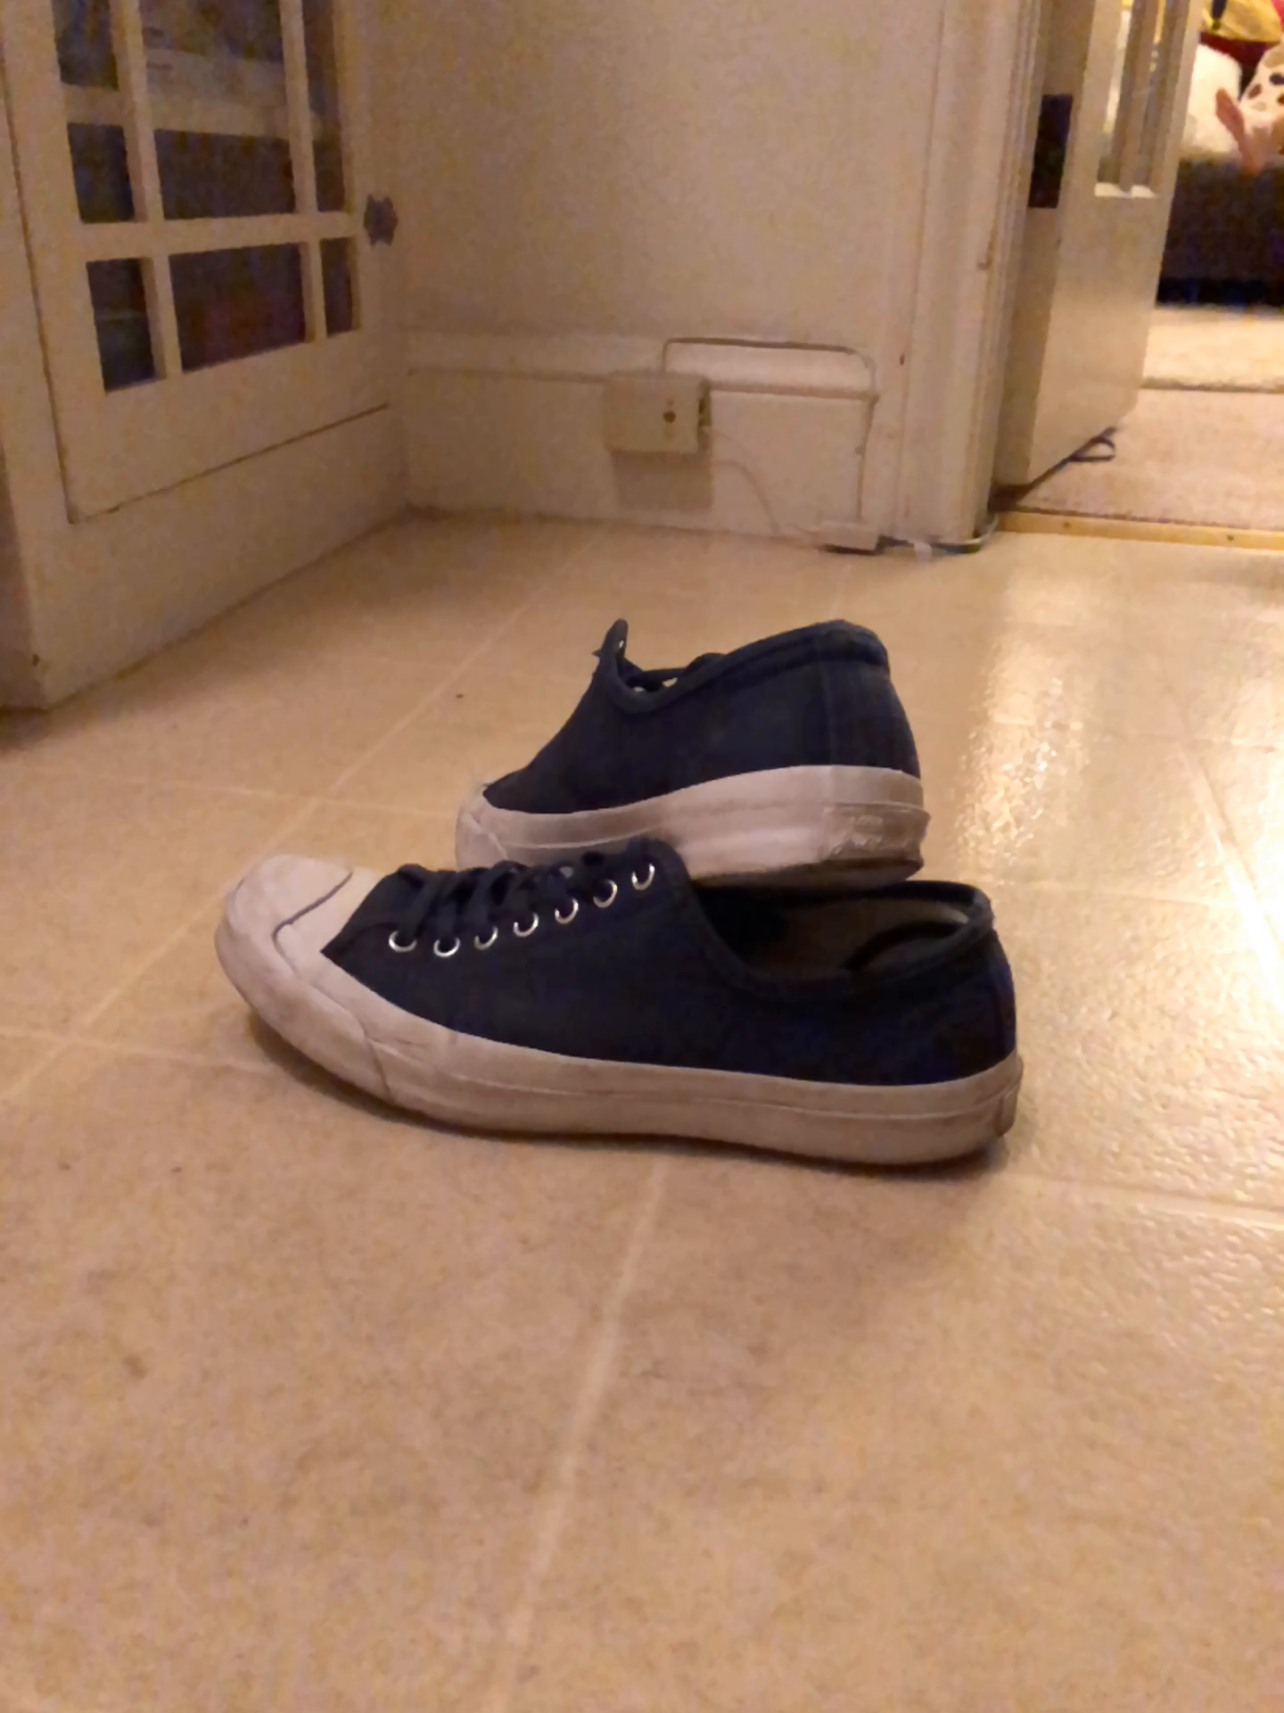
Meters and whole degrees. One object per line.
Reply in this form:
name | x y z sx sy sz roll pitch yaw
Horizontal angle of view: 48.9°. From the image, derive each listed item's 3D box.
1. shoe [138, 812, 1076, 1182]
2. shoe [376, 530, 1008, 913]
shoe | -0.007 0.044 0.489 0.290 0.080 0.110 -1 19 12
shoe | -0.002 -0.034 0.548 0.100 0.100 0.290 8 -6 -29
